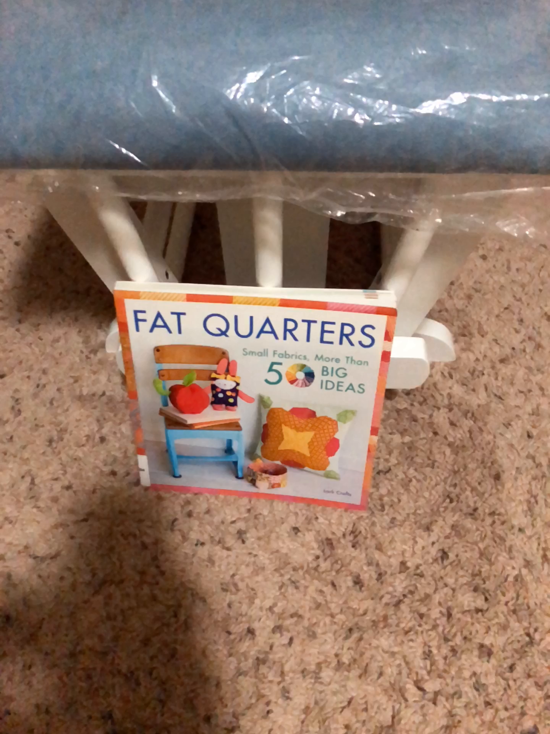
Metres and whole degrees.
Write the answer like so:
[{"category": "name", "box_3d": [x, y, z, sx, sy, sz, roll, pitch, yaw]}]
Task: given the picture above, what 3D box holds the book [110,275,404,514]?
[{"category": "book", "box_3d": [-0.014, 0.028, 0.489, 0.207, 0.193, 0.030, 5, 34, 6]}]
